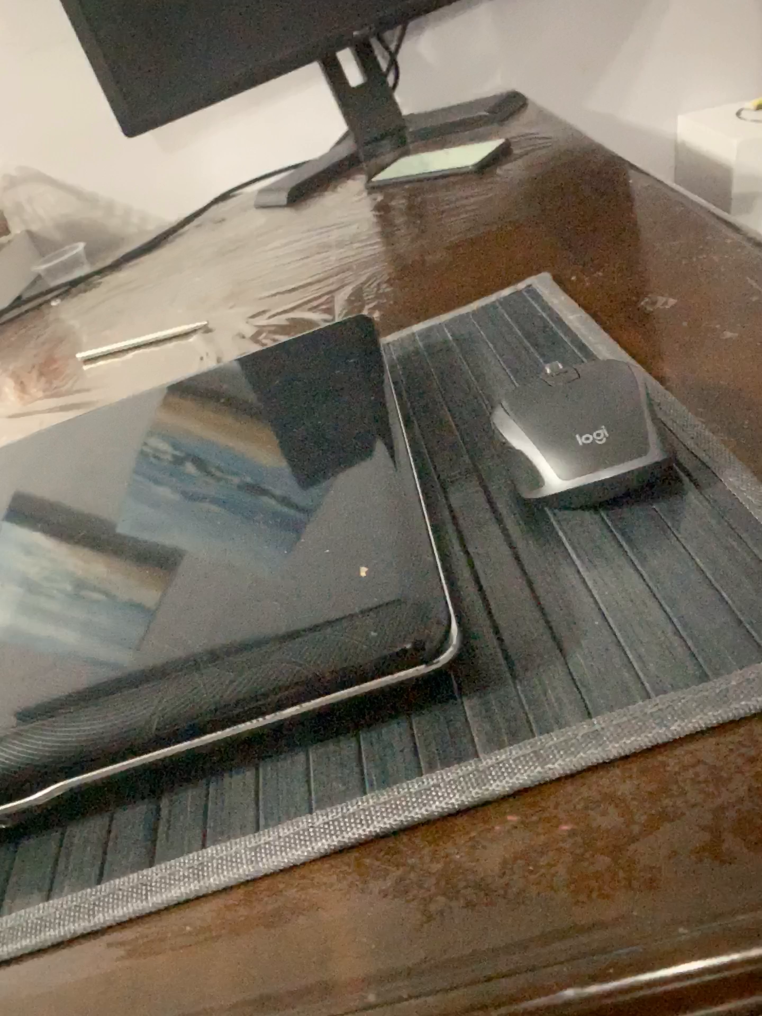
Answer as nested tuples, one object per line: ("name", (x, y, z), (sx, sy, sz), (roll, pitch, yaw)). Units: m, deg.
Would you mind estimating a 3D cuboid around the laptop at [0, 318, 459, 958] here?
("laptop", (-0.151, 0.023, 0.338), (0.339, 0.009, 0.232), (-18, 36, 4))
